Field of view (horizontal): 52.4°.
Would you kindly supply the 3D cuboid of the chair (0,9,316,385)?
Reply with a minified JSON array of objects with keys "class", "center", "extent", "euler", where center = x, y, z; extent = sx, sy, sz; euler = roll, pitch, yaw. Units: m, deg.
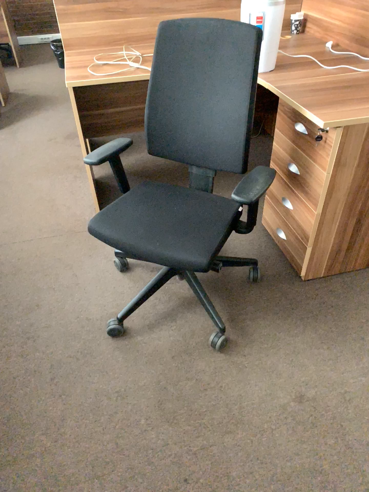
[{"class":"chair","center":[-0.053,-0.223,1.316],"extent":[0.671,0.915,0.793],"euler":[17,43,22]}]
